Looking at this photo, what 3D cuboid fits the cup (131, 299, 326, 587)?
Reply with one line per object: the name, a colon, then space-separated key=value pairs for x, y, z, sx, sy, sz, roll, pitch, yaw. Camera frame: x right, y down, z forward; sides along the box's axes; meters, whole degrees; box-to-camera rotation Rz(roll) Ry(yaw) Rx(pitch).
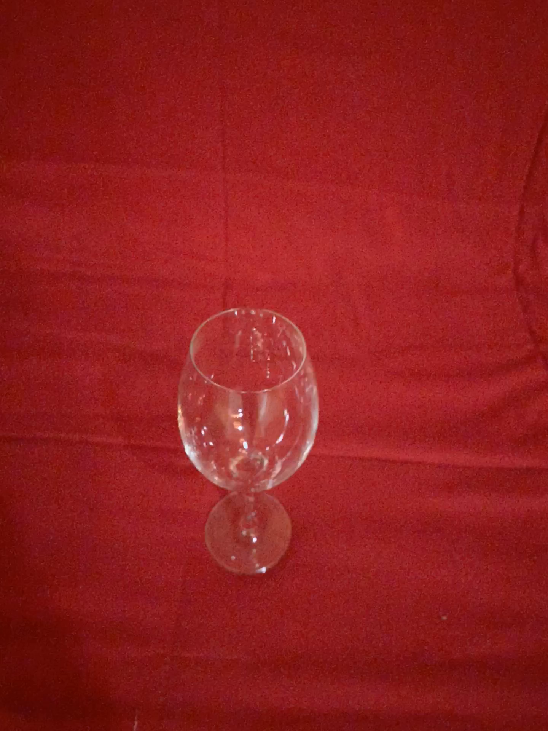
cup: x=-0.023 y=0.073 z=0.401 sx=0.094 sy=0.246 sz=0.083 roll=4 pitch=53 yaw=1
